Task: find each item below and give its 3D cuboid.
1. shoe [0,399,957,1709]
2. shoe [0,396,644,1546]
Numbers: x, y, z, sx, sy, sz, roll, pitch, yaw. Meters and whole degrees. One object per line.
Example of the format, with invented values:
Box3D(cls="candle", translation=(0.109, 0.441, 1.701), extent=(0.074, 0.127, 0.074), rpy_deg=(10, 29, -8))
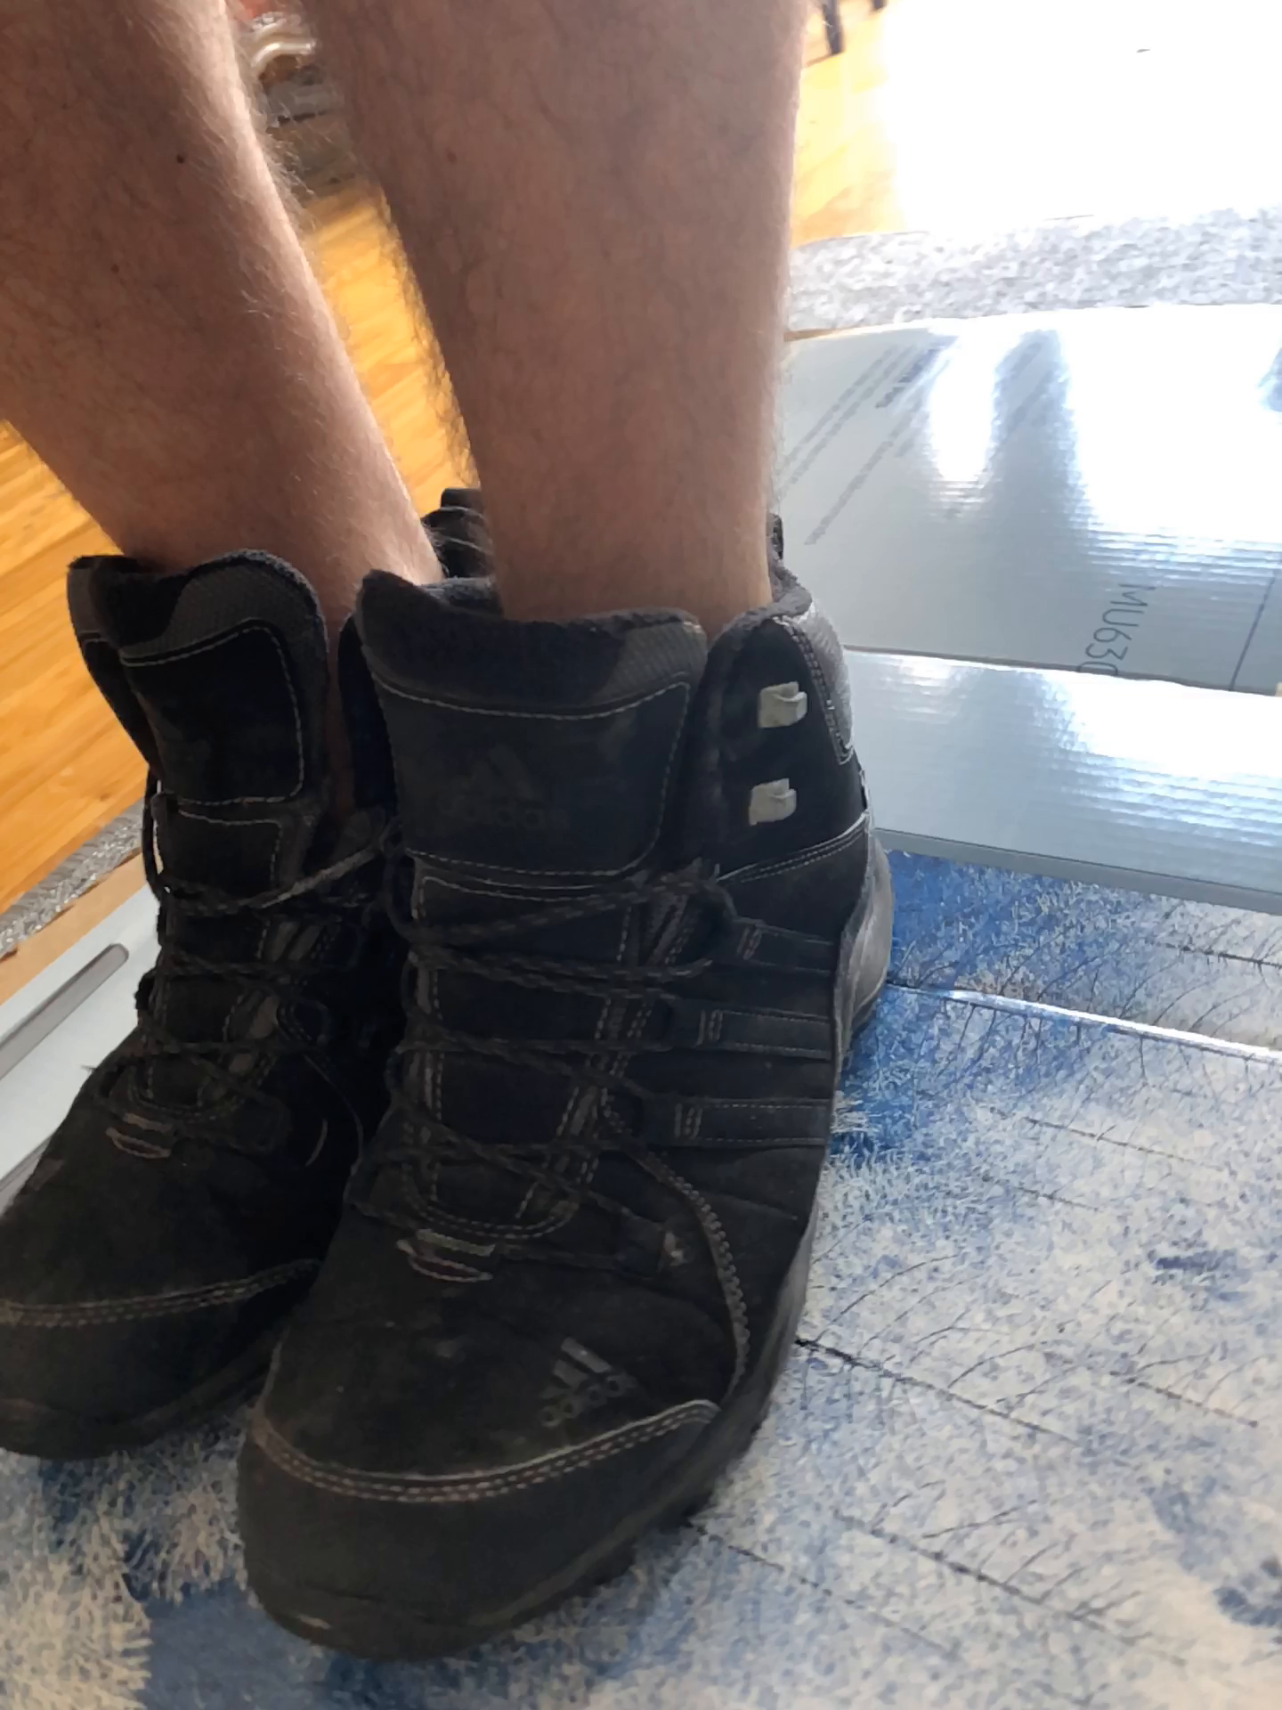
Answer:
Box3D(cls="shoe", translation=(-0.015, 0.029, 0.347), extent=(0.110, 0.169, 0.282), rpy_deg=(3, 39, 25))
Box3D(cls="shoe", translation=(-0.119, 0.008, 0.410), extent=(0.110, 0.169, 0.282), rpy_deg=(3, 39, 25))
